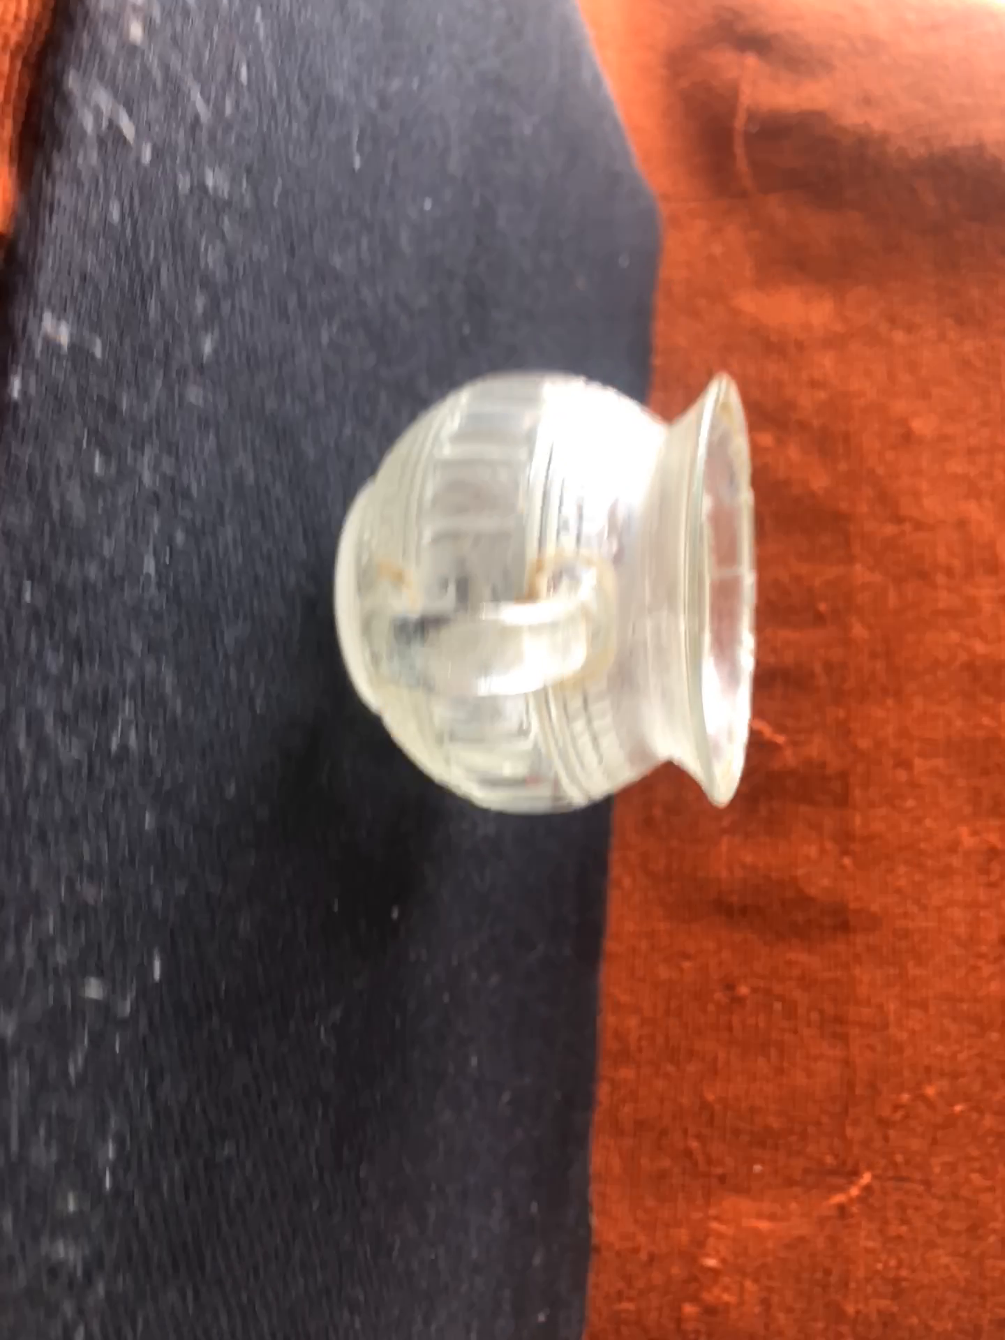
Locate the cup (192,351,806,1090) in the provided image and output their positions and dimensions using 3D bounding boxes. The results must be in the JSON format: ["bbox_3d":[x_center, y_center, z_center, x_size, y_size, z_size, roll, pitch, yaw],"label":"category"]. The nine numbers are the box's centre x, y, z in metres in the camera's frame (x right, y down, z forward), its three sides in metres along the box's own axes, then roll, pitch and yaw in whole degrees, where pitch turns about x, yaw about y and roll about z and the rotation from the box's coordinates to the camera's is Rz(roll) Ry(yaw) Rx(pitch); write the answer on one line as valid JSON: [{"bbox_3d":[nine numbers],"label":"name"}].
[{"bbox_3d":[0.011,0.001,0.175,0.090,0.060,0.070,-60,146,-55],"label":"cup"}]
